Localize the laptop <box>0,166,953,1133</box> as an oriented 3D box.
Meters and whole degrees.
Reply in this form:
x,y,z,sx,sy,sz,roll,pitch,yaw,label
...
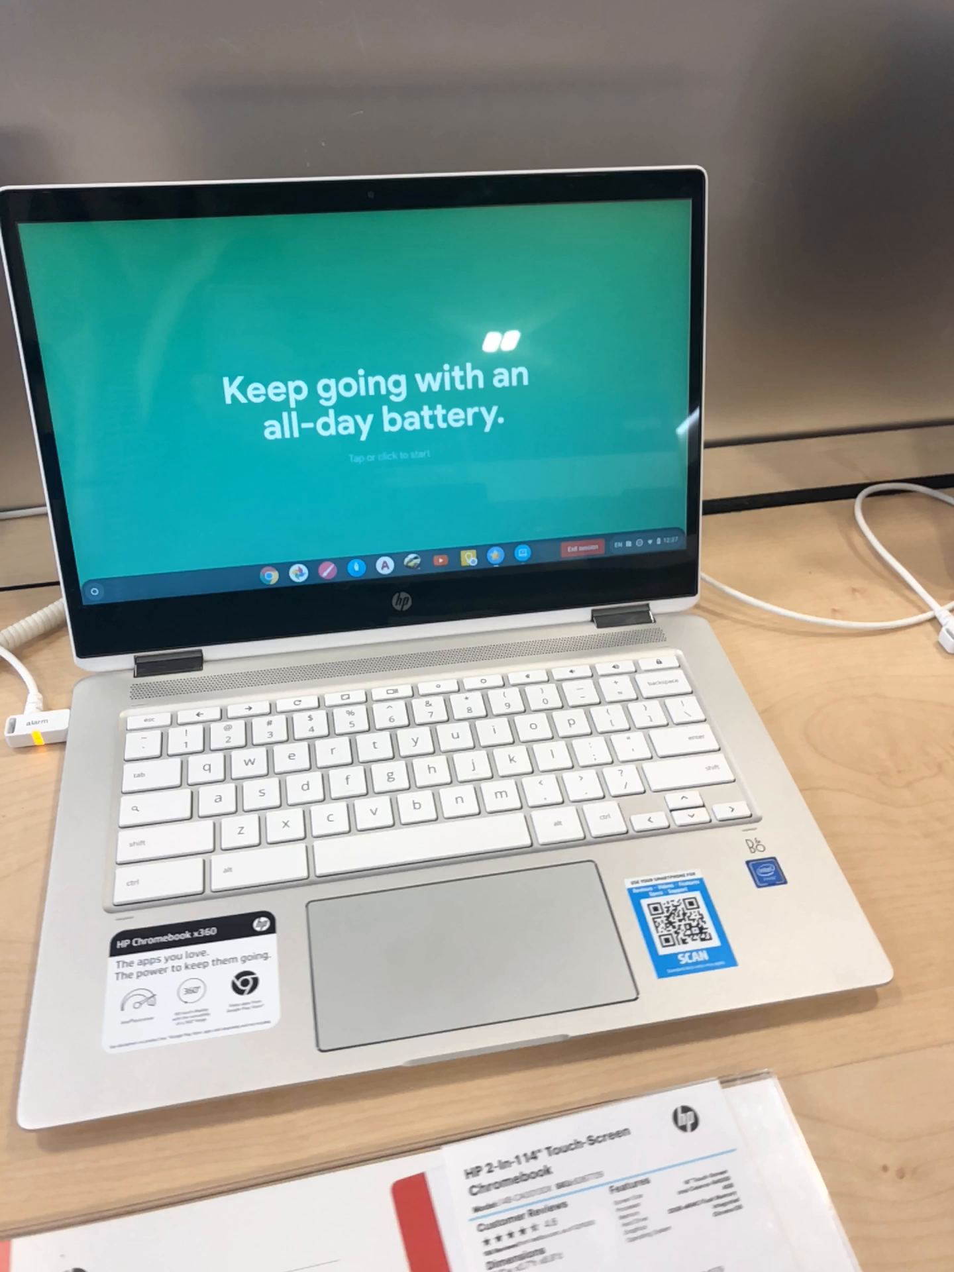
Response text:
x,y,z,sx,sy,sz,roll,pitch,yaw,label
-0.027,-0.030,0.439,0.323,0.205,0.319,-6,43,-10,laptop
